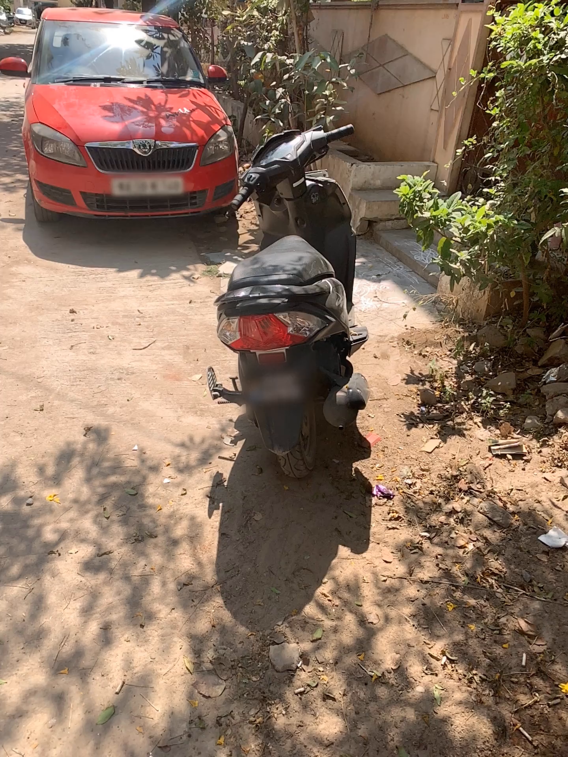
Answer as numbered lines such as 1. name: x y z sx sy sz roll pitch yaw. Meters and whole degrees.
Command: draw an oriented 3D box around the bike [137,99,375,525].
1. bike: -0.121 -0.419 2.453 0.624 1.175 1.535 3 31 -2
